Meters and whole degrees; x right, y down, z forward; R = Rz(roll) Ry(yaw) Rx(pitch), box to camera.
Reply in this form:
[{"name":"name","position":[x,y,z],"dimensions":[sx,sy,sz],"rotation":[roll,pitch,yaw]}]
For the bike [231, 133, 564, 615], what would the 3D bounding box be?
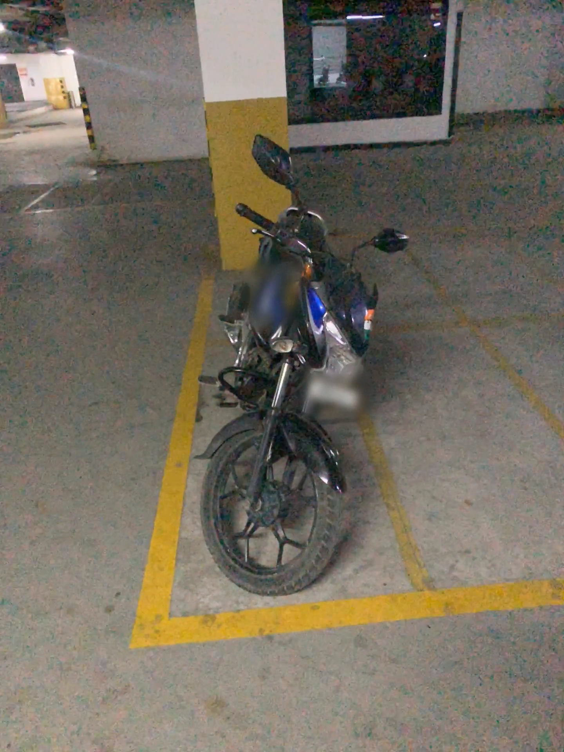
[{"name":"bike","position":[0.311,-0.303,2.543],"dimensions":[0.850,1.205,2.223],"rotation":[-6,28,-4]}]
